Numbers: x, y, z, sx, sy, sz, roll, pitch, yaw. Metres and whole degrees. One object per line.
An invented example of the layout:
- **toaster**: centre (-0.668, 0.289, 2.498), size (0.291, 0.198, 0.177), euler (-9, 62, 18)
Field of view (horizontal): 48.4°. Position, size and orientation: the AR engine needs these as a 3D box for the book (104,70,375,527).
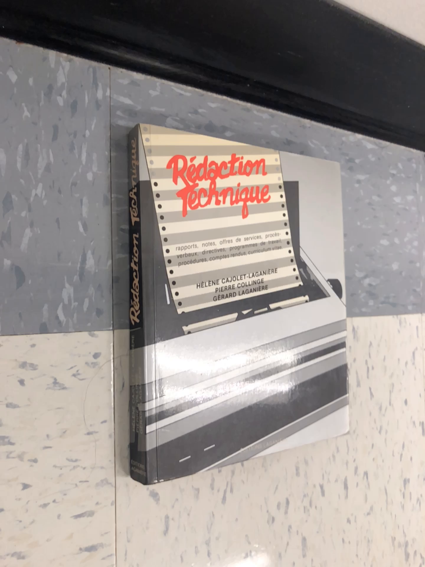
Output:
- **book**: centre (0.025, 0.006, 0.292), size (0.171, 0.040, 0.220), euler (0, 88, -34)
